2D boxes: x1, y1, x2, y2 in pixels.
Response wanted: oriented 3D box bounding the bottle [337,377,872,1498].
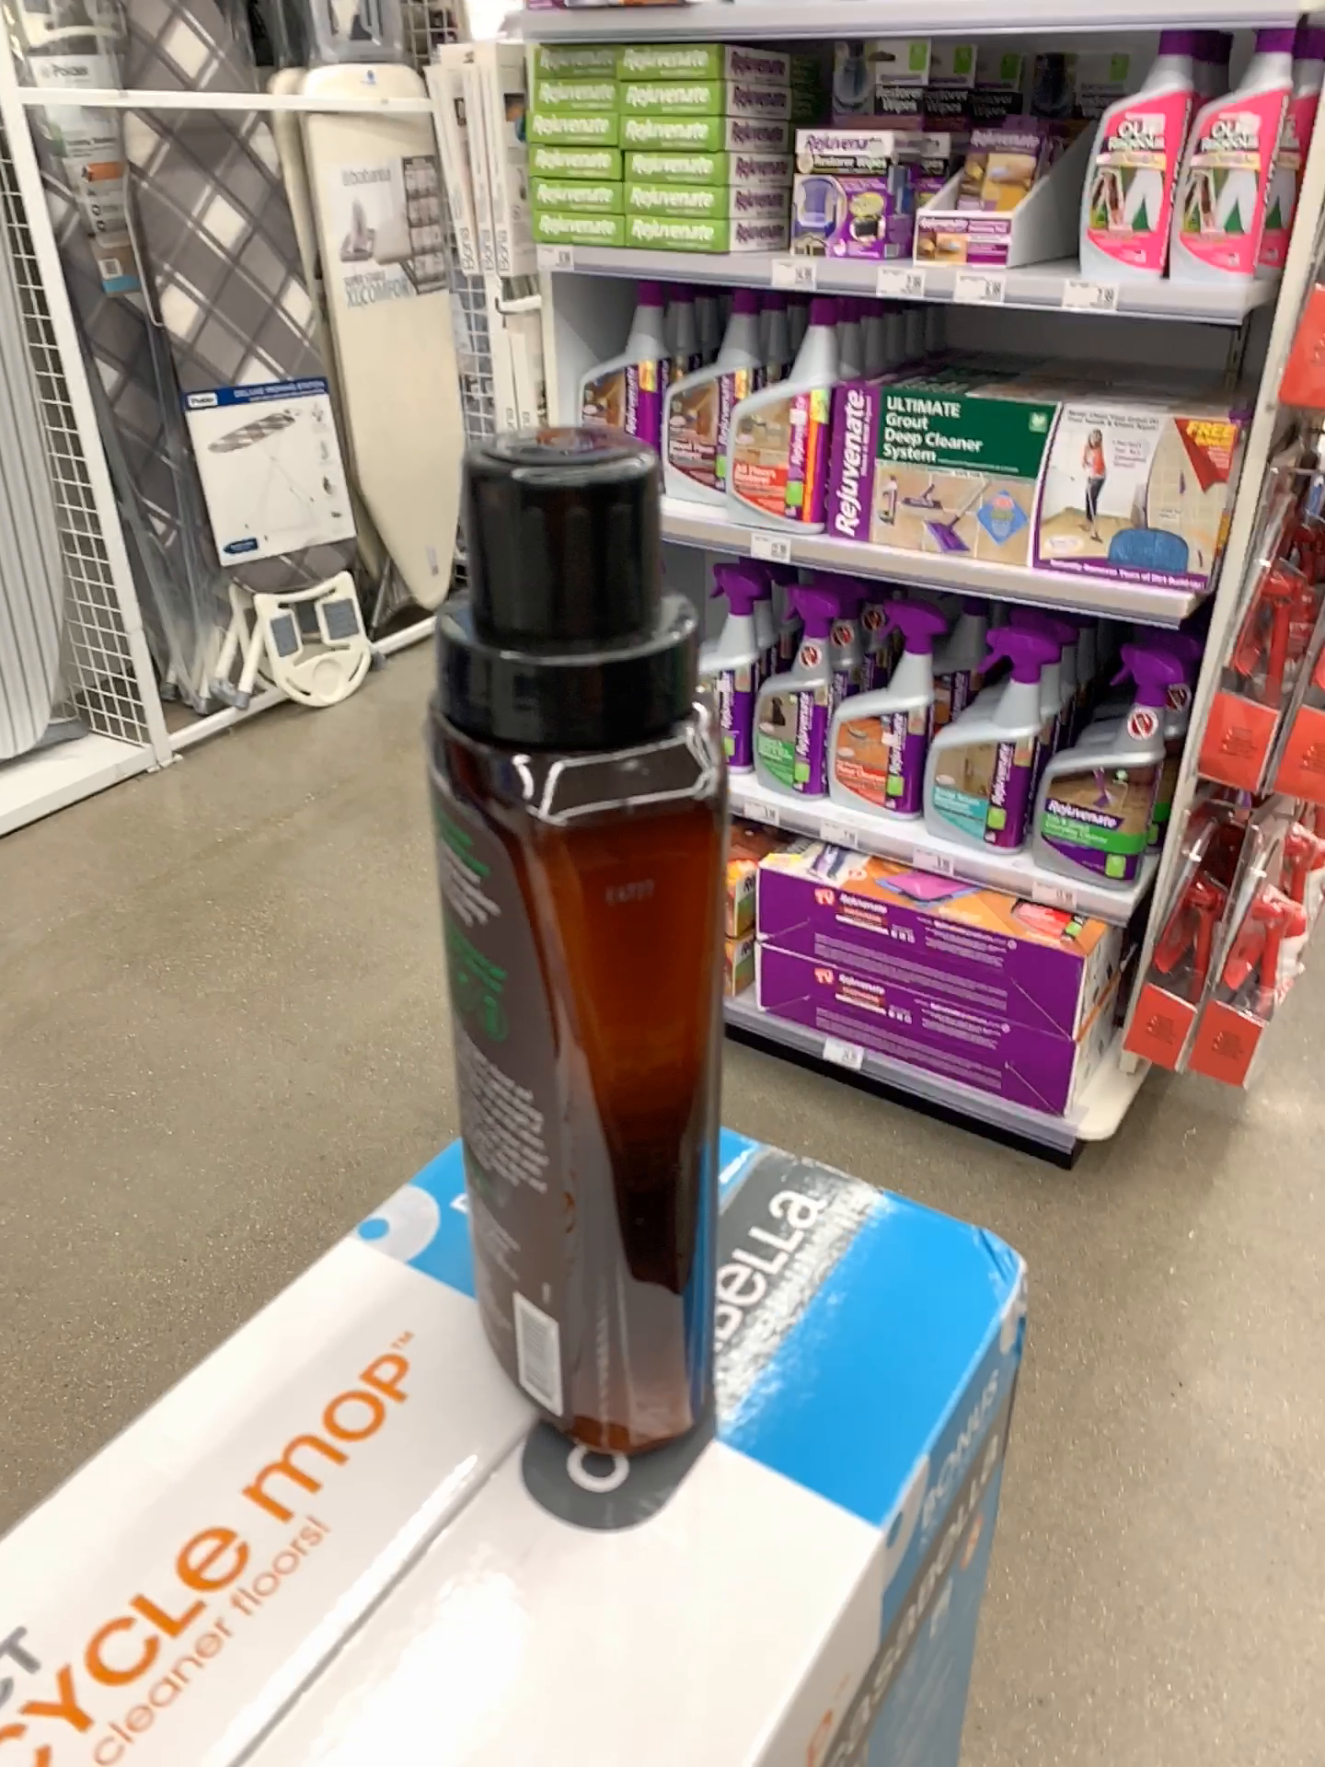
[{"bbox_3d":[-0.014,0.013,0.289,0.070,0.209,0.101,-10,32,-14],"label":"bottle"}]
